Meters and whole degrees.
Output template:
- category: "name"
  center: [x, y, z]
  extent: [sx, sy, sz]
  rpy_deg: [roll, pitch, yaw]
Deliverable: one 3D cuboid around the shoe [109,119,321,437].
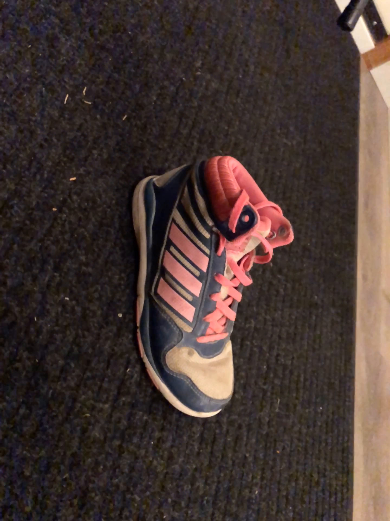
- category: "shoe"
  center: [0.012, 0.017, 0.335]
  extent: [0.091, 0.099, 0.200]
  rpy_deg: [3, 76, -51]
